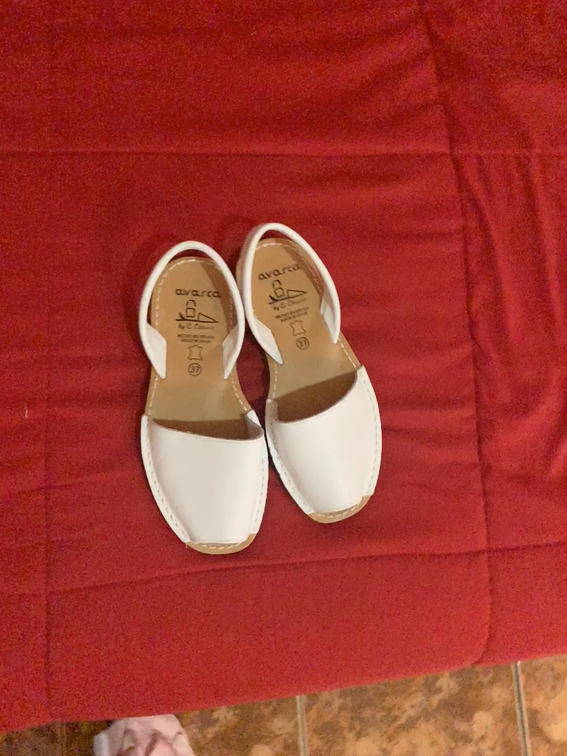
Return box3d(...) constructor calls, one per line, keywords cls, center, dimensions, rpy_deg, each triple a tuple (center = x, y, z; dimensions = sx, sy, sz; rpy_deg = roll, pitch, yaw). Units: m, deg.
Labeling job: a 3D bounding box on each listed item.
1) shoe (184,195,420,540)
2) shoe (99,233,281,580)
box3d(cls="shoe", center=(0.010, -0.009, 0.476), dimensions=(0.103, 0.063, 0.249), rpy_deg=(-20, 86, -10))
box3d(cls="shoe", center=(-0.074, 0.019, 0.460), dimensions=(0.108, 0.063, 0.247), rpy_deg=(-6, 84, -8))
